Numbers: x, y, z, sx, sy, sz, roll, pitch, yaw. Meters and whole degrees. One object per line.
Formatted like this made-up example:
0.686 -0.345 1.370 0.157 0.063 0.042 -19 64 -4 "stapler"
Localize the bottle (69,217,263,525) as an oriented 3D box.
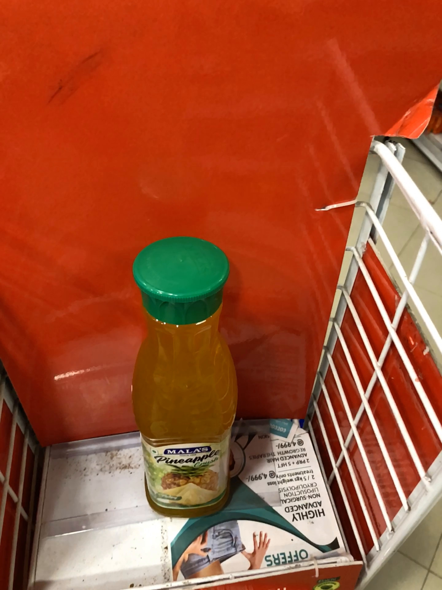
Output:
-0.031 0.073 0.345 0.090 0.258 0.070 -2 45 -4 "bottle"
